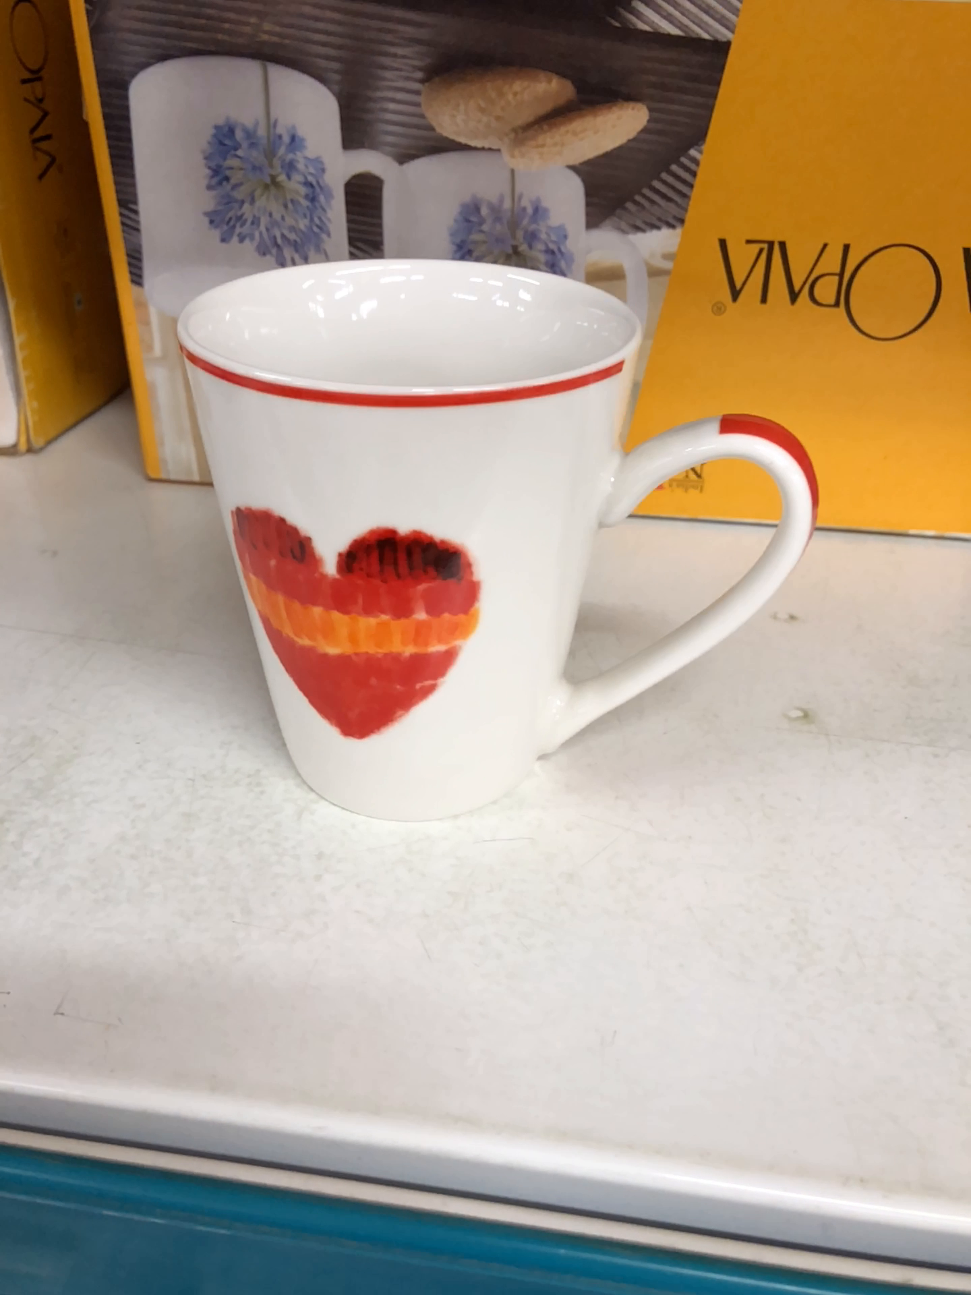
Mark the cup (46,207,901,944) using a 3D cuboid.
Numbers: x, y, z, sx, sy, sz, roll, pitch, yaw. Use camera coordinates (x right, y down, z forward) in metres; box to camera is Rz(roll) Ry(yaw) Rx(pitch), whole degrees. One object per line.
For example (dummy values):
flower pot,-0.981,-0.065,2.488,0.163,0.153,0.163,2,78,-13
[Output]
cup,0.002,-0.020,0.207,0.120,0.099,0.081,8,32,11
